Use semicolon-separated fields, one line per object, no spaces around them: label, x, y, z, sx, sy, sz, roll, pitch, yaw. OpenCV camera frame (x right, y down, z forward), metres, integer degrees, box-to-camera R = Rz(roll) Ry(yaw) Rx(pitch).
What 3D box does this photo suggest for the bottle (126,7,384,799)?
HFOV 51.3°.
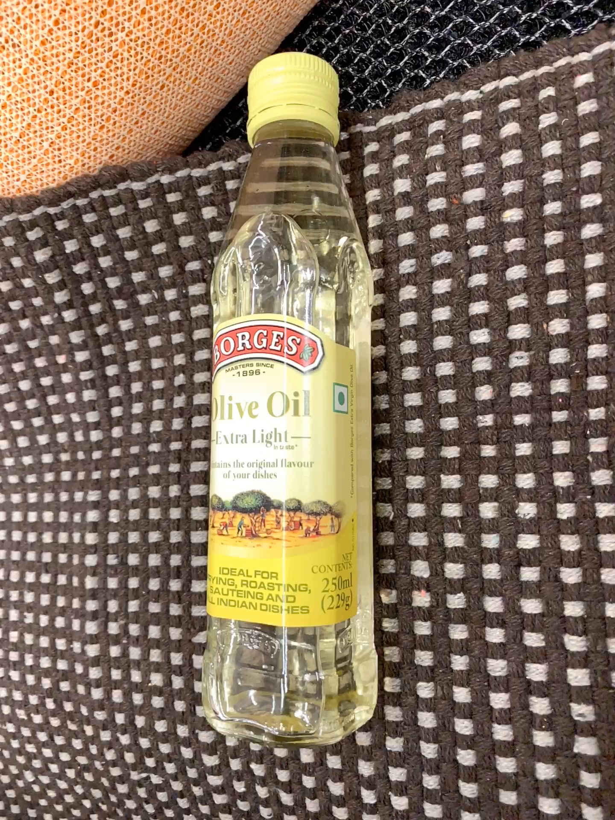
bottle;-0.014;-0.004;0.193;0.060;0.040;0.200;-1;86;29
